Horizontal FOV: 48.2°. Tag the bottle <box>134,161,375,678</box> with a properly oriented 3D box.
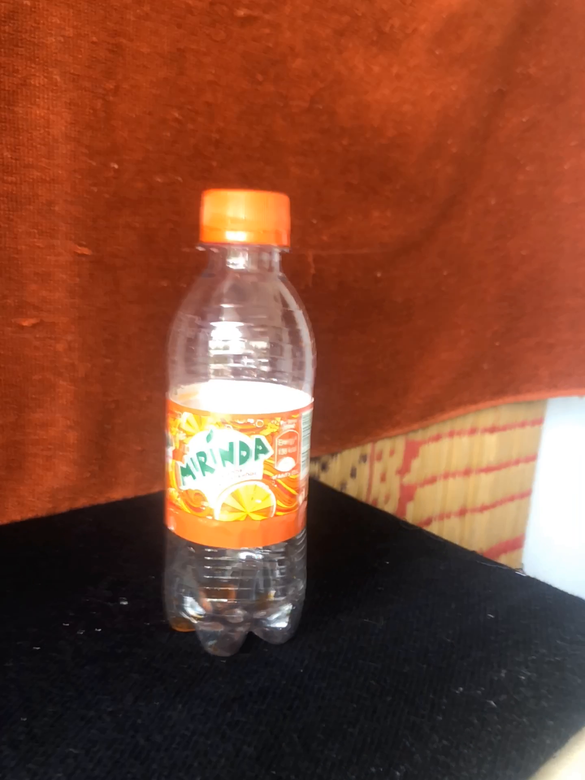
[{"bbox_3d":[-0.013,0.009,0.229,0.060,0.160,0.050,8,13,12],"label":"bottle"}]
